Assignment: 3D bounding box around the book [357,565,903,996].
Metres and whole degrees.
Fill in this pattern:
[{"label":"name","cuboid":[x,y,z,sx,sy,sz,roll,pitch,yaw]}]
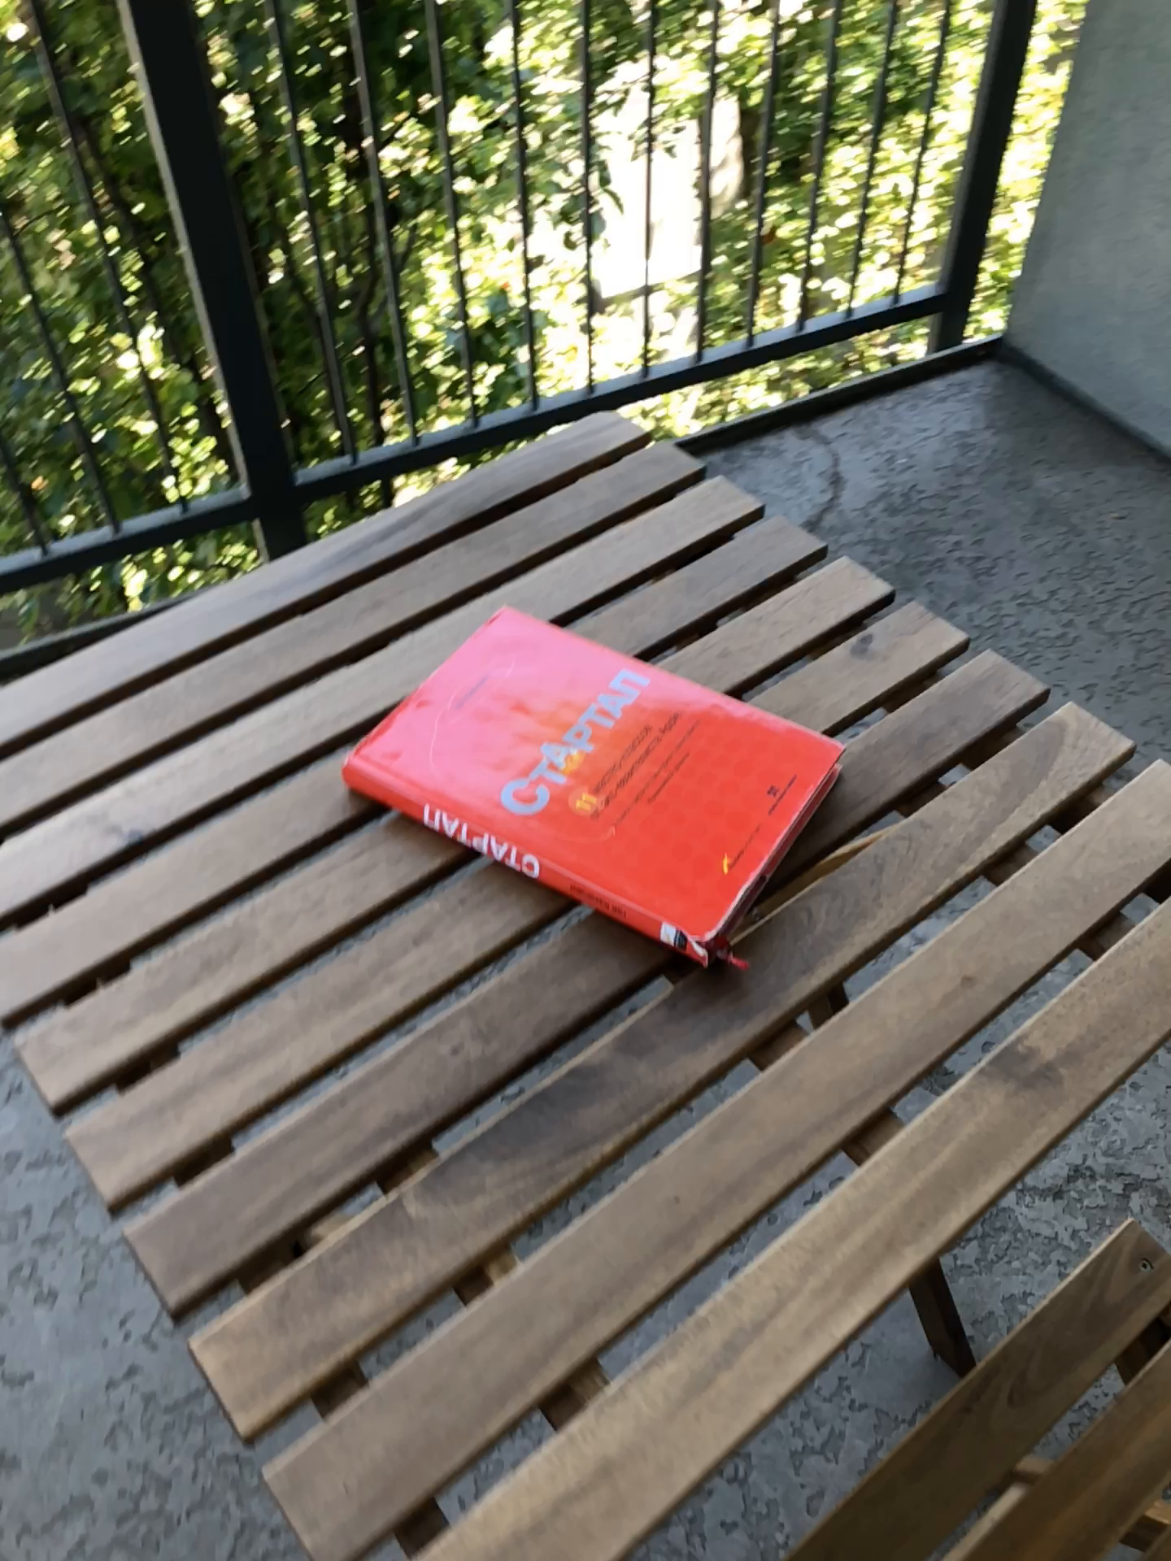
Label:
[{"label":"book","cuboid":[0.026,-0.013,0.727,0.240,0.050,0.180,25,53,22]}]
